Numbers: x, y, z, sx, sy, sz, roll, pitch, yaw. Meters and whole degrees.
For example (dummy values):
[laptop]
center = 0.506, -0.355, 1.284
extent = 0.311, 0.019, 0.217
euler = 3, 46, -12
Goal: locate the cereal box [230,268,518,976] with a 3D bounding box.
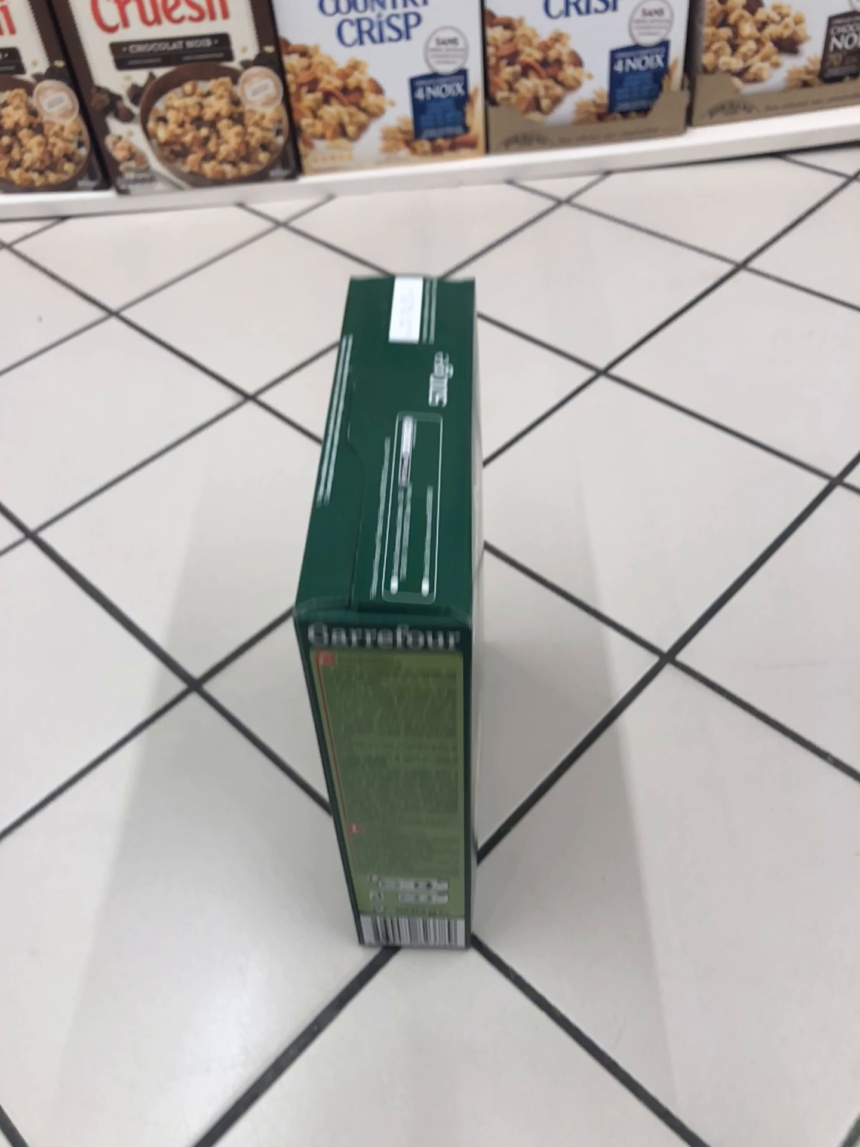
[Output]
[cereal box]
center = -0.006, 0.030, 0.426
extent = 0.080, 0.248, 0.201
euler = 1, 48, 4
